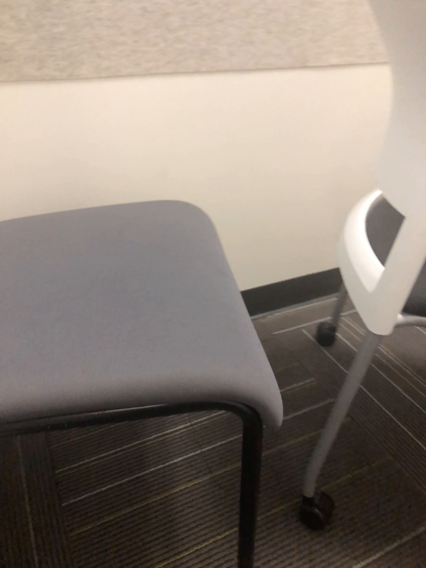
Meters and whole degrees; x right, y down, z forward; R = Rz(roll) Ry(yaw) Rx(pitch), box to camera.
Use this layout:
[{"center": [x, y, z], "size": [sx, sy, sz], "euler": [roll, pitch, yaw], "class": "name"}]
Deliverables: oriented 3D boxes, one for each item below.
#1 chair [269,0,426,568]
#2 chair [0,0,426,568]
[{"center": [0.542, -0.028, 0.997], "size": [0.650, 0.962, 0.706], "euler": [10, 31, 7], "class": "chair"}, {"center": [-0.244, 0.033, 0.800], "size": [0.651, 0.932, 0.705], "euler": [-1, 30, -9], "class": "chair"}]
